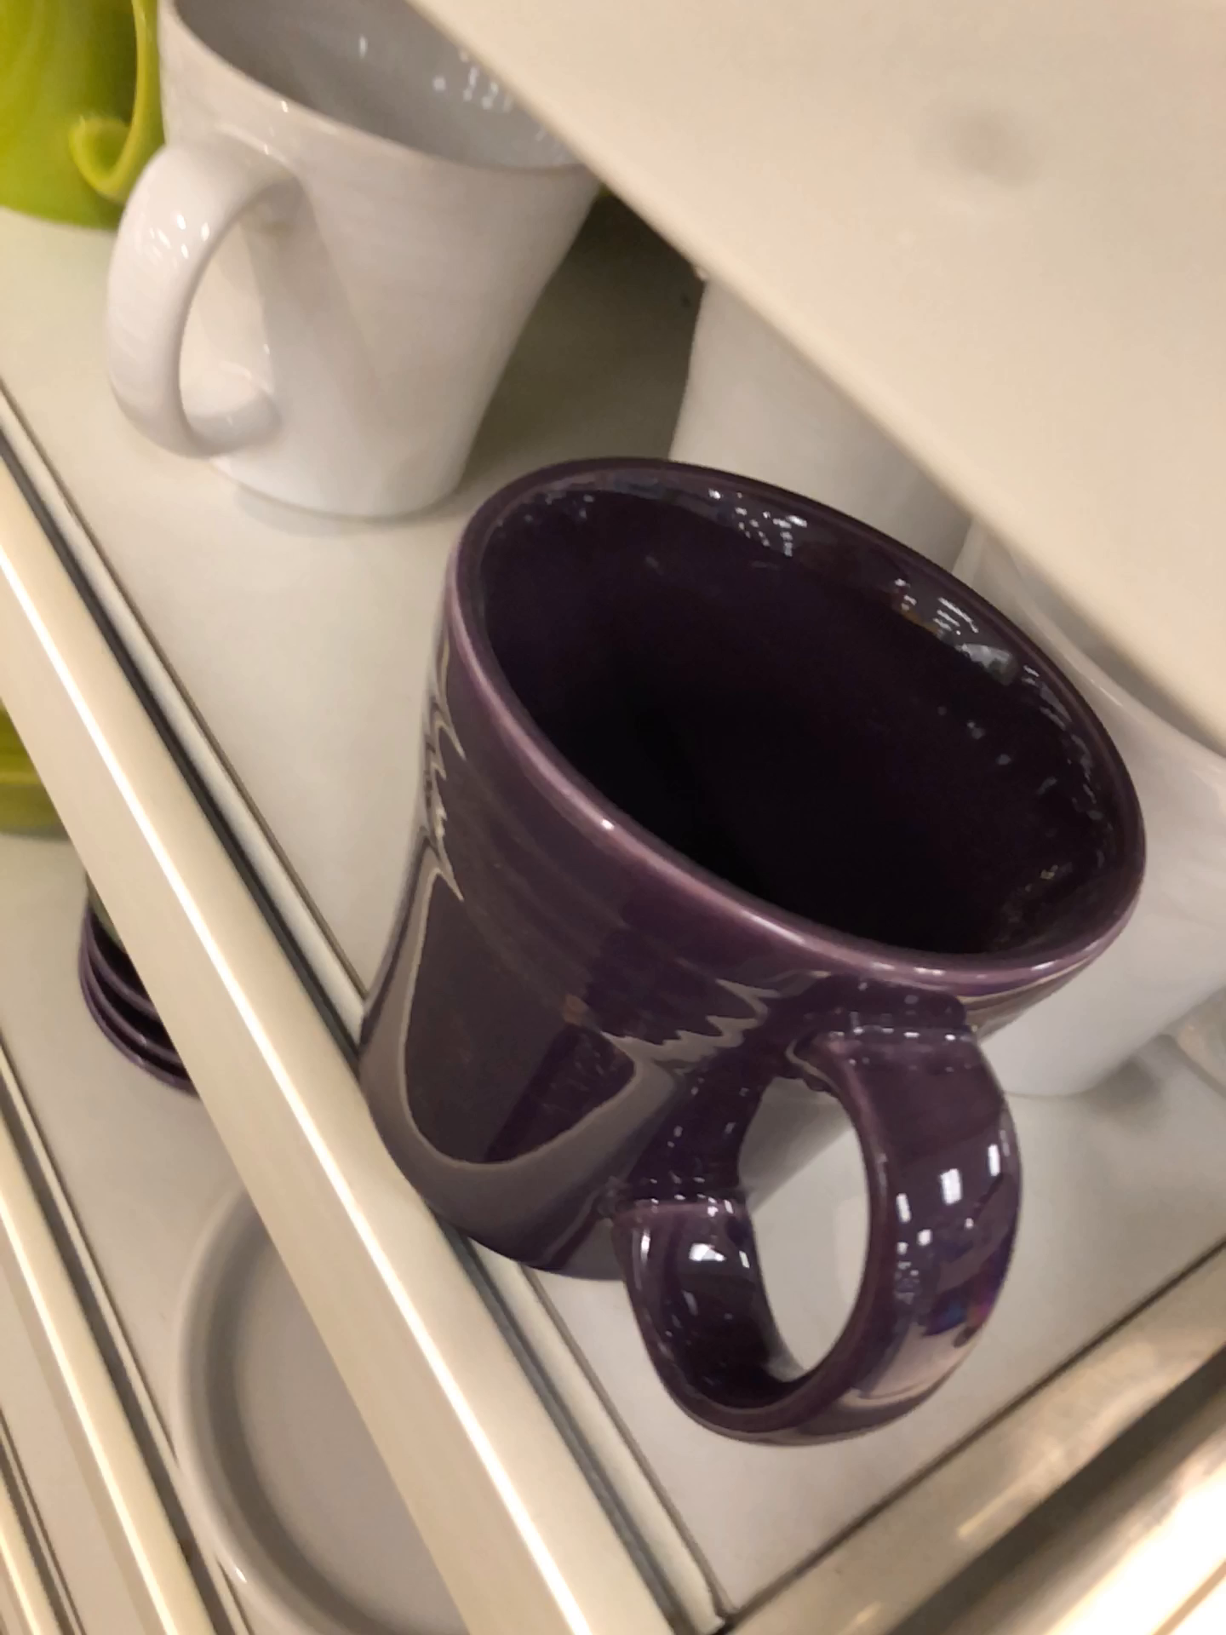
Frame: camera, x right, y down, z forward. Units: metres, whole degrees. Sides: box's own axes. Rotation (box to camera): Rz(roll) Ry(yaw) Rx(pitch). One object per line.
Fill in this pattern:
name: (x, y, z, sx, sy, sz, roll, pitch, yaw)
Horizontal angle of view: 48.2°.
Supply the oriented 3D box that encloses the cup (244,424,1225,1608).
cup: (0.018, 0.021, 0.211, 0.090, 0.099, 0.127, -16, 56, -35)
